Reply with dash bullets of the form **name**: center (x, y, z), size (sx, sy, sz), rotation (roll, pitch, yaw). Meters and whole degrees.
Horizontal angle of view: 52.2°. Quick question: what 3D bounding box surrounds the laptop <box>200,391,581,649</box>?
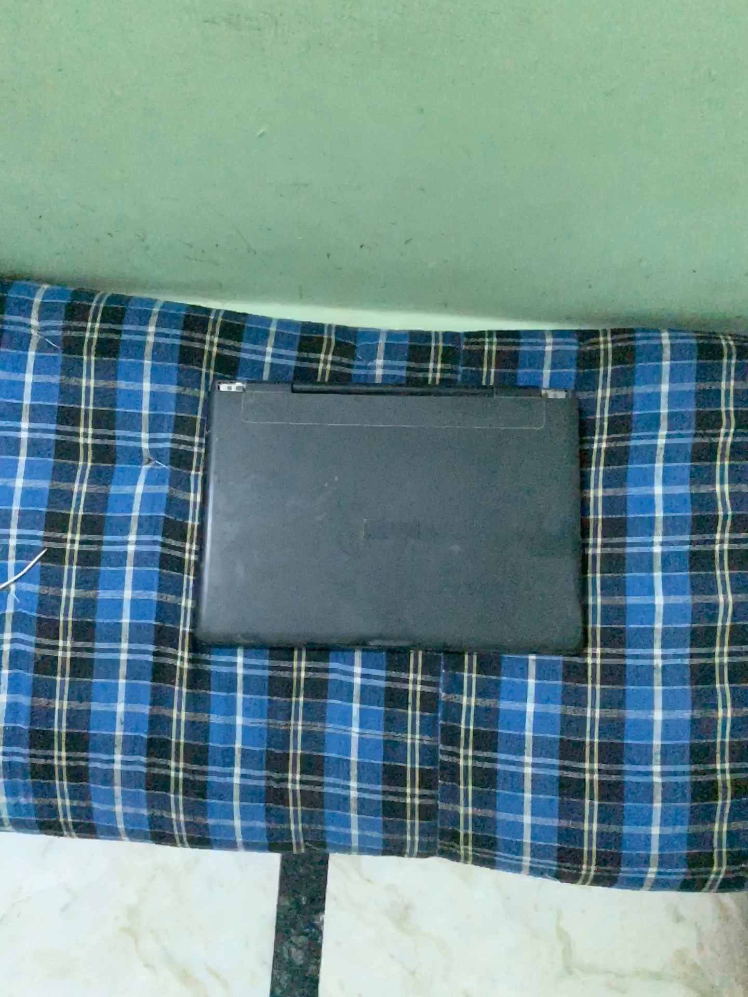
- **laptop**: center (0.017, 0.017, 0.664), size (0.323, 0.005, 0.216), rotation (2, 82, 0)
